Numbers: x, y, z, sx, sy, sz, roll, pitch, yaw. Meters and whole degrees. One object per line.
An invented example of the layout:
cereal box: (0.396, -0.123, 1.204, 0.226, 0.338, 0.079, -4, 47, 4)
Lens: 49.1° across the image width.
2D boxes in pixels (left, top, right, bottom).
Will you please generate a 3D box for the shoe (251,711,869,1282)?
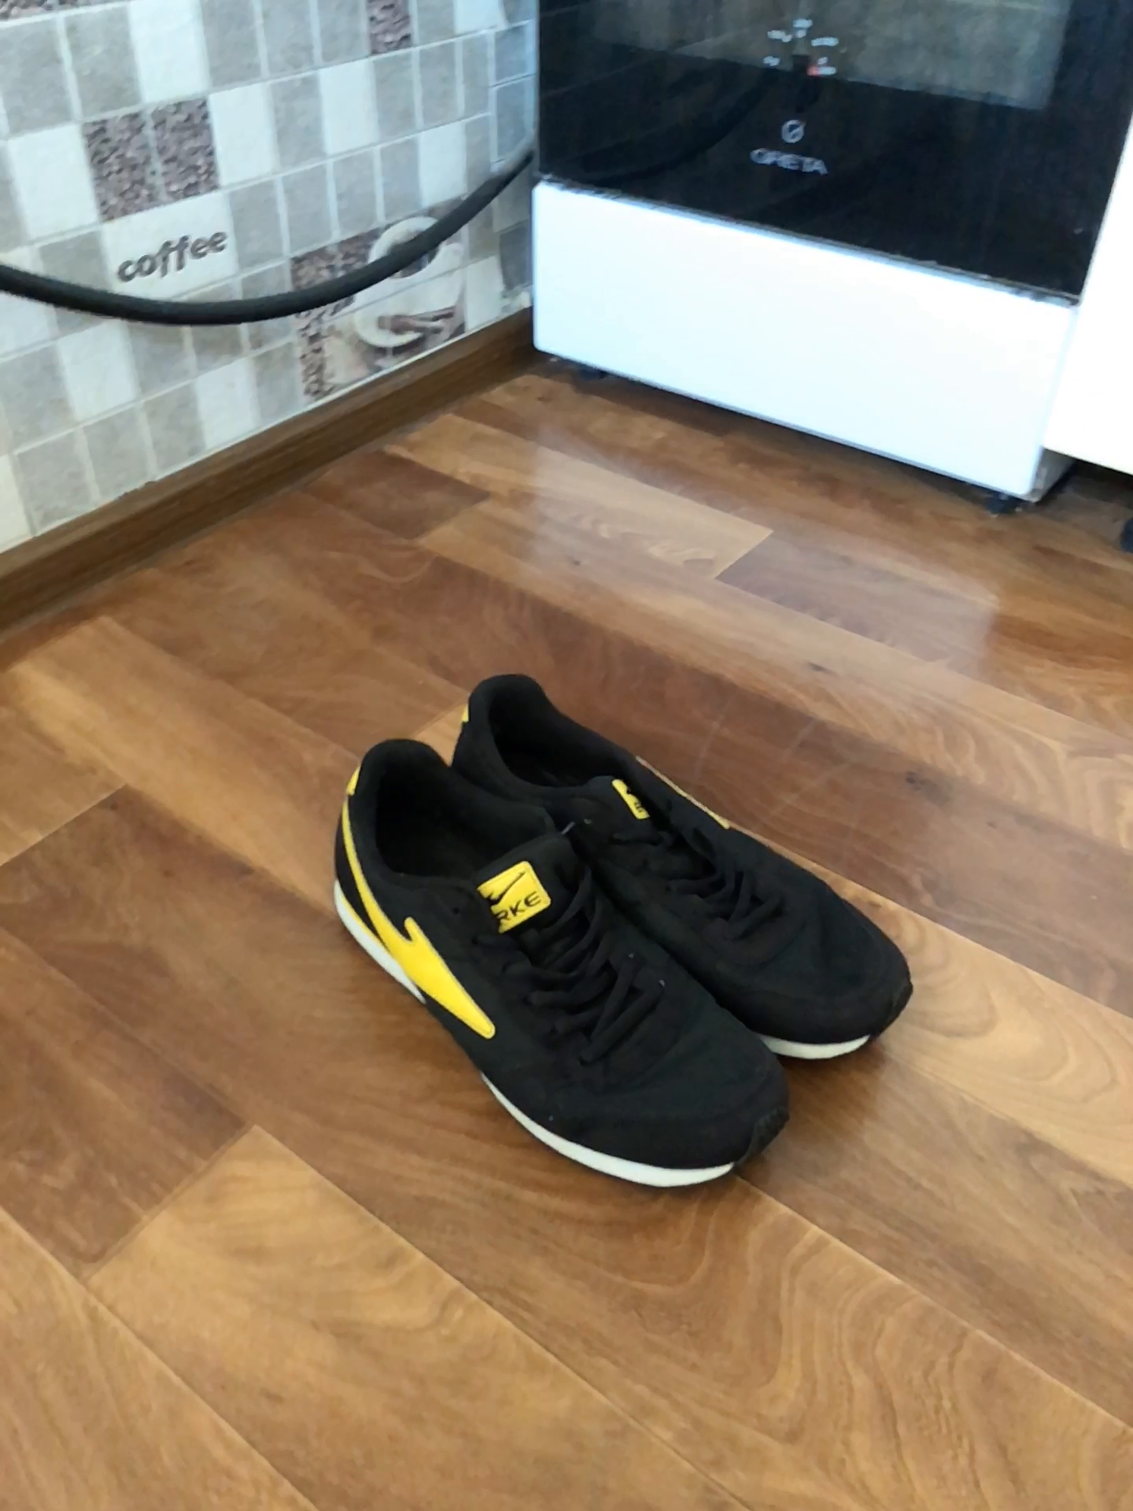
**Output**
shoe: (-0.016, 0.099, 0.612, 0.301, 0.079, 0.110, 32, 49, 32)

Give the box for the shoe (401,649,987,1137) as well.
shoe: (0.055, 0.058, 0.672, 0.301, 0.079, 0.111, 31, 48, 31)
